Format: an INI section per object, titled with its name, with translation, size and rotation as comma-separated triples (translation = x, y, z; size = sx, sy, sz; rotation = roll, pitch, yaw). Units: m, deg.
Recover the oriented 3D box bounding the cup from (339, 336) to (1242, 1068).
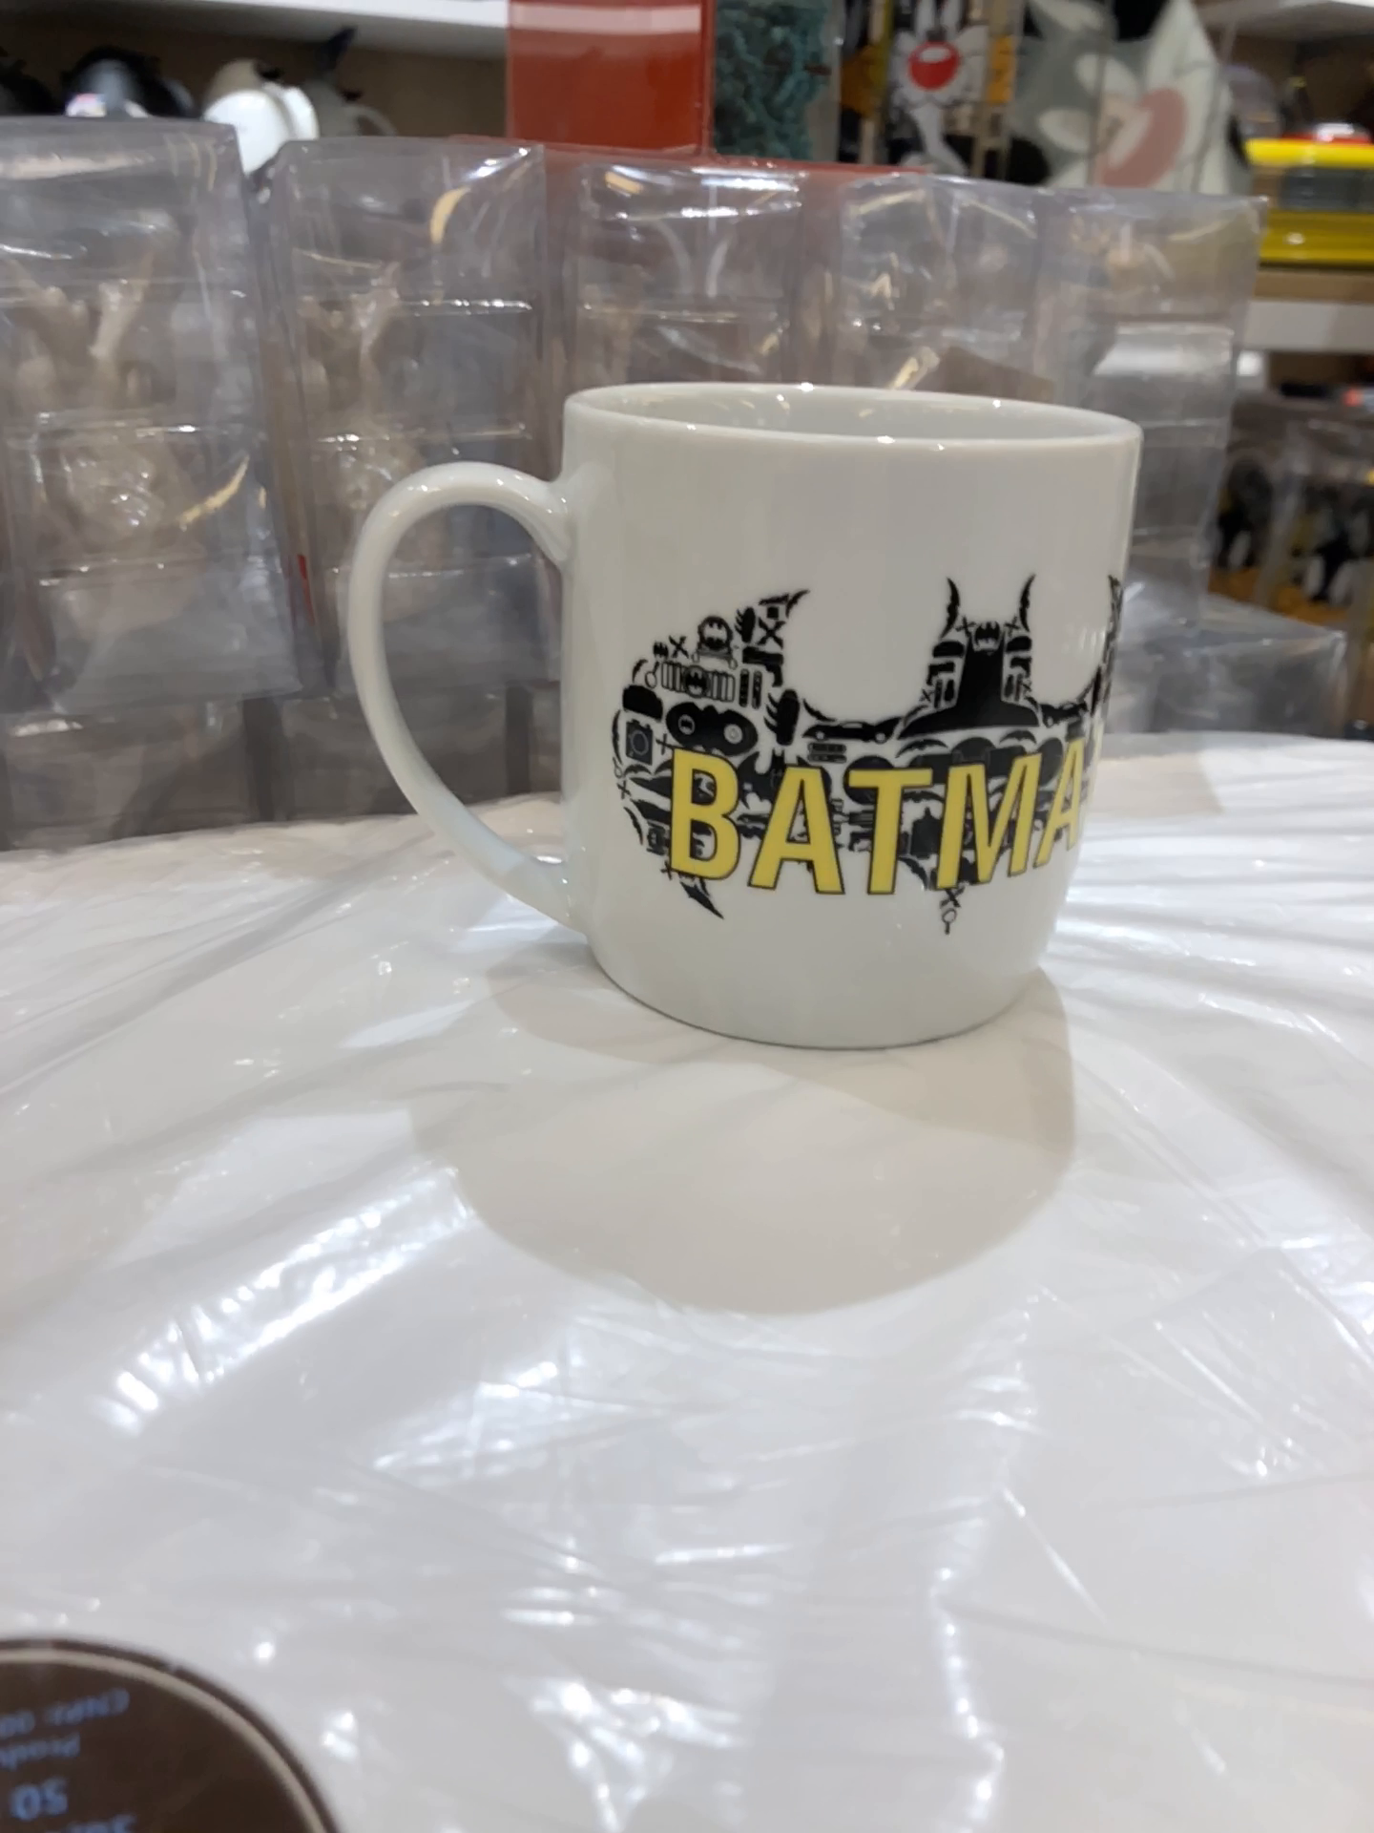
[cup]
translation = 0.007, -0.038, 0.236
size = 0.110, 0.089, 0.080
rotation = -1, 23, -9
